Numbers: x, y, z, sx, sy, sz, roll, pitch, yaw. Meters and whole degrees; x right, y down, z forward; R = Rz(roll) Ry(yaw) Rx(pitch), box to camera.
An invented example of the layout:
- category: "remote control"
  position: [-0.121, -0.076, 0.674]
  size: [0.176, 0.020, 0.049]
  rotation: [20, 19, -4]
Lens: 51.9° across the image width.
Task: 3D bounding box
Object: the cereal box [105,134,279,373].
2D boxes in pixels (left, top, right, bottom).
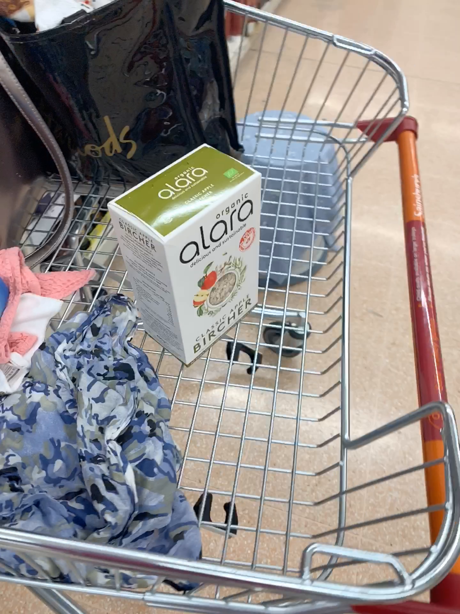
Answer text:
- category: "cereal box"
  position: [-0.029, -0.045, 0.453]
  size: [0.080, 0.178, 0.121]
  rotation: [36, 59, 26]
